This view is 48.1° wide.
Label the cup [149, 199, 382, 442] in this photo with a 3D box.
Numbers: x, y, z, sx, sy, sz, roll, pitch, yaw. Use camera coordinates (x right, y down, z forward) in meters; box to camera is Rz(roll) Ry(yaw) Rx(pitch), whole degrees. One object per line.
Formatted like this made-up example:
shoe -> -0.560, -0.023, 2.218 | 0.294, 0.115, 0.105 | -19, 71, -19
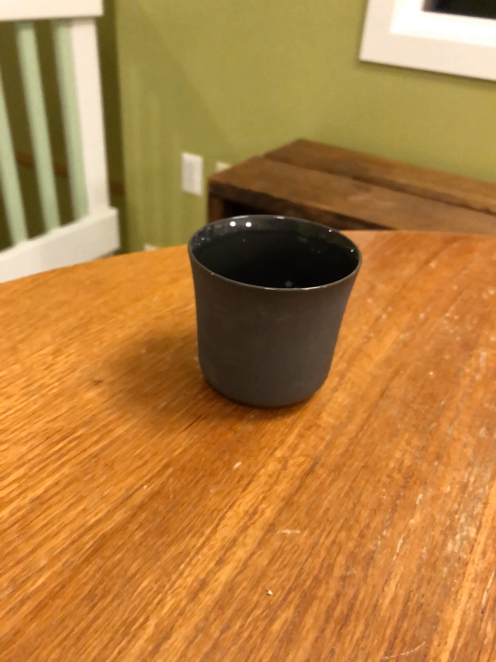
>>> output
cup -> 0.009, -0.010, 0.259 | 0.079, 0.068, 0.075 | 3, 33, -2
